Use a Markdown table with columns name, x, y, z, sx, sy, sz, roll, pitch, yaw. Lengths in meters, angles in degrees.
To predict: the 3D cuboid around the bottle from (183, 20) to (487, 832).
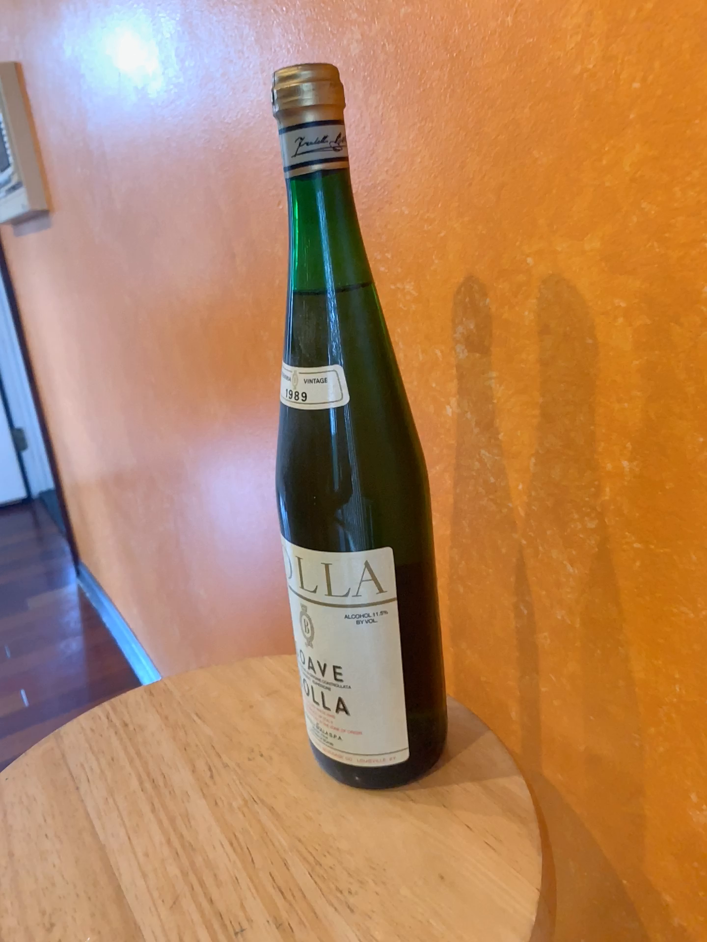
| name | x | y | z | sx | sy | sz | roll | pitch | yaw |
| --- | --- | --- | --- | --- | --- | --- | --- | --- | --- |
| bottle | 0.000 | -0.006 | 0.344 | 0.070 | 0.339 | 0.080 | -20 | 23 | -35 |
